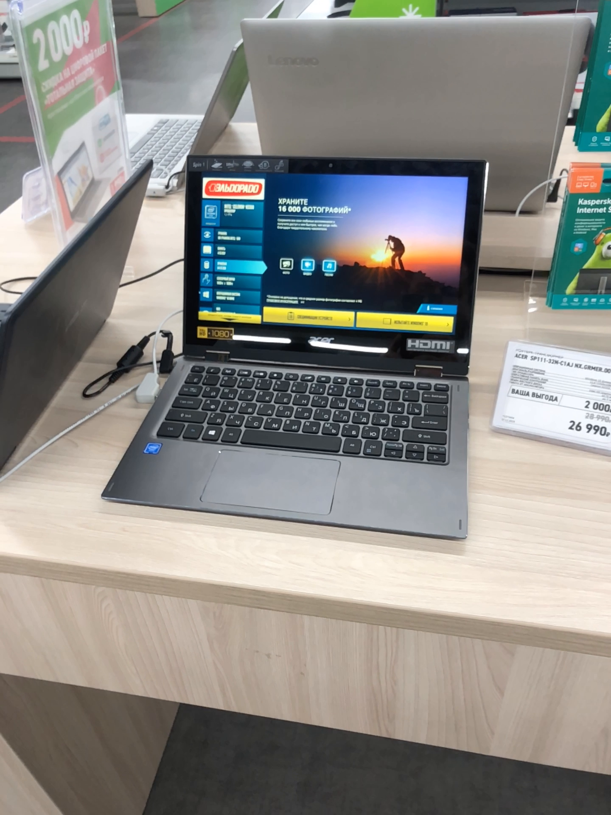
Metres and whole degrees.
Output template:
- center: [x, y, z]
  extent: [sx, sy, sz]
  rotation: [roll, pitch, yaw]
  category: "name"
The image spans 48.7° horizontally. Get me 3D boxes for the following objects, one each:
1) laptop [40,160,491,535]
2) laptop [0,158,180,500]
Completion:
- center: [0.000, -0.077, 0.586]
  extent: [0.287, 0.168, 0.304]
  rotation: [4, 40, 10]
  category: "laptop"
- center: [-0.310, -0.091, 0.621]
  extent: [0.287, 0.174, 0.276]
  rotation: [4, 40, 10]
  category: "laptop"
